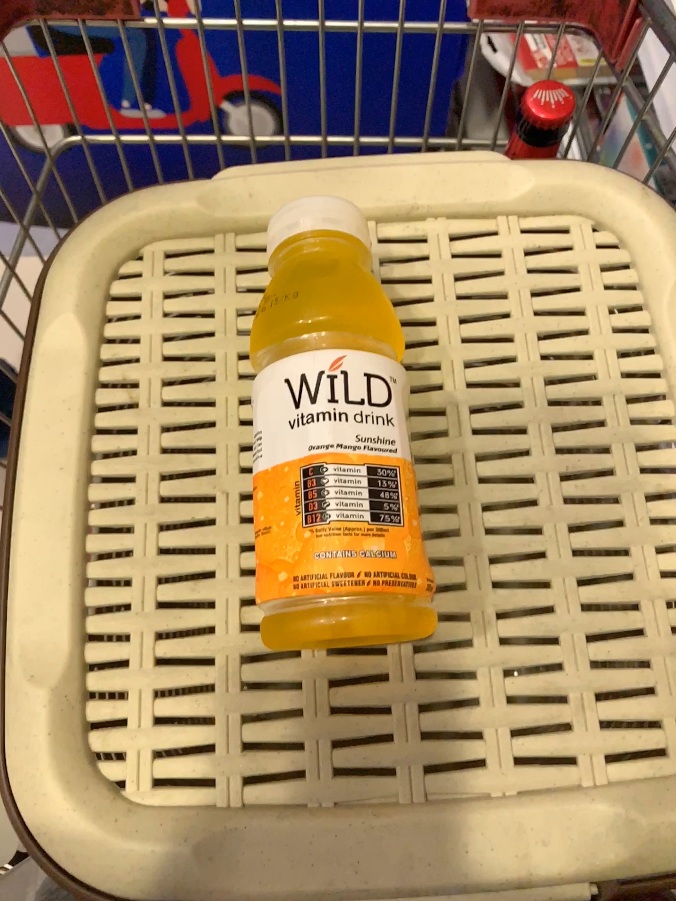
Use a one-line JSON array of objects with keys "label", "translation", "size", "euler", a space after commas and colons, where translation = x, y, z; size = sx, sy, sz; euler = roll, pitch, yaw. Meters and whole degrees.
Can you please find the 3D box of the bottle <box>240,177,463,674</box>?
[{"label": "bottle", "translation": [-0.003, -0.008, 0.261], "size": [0.060, 0.060, 0.170], "euler": [1, 72, -13]}]
